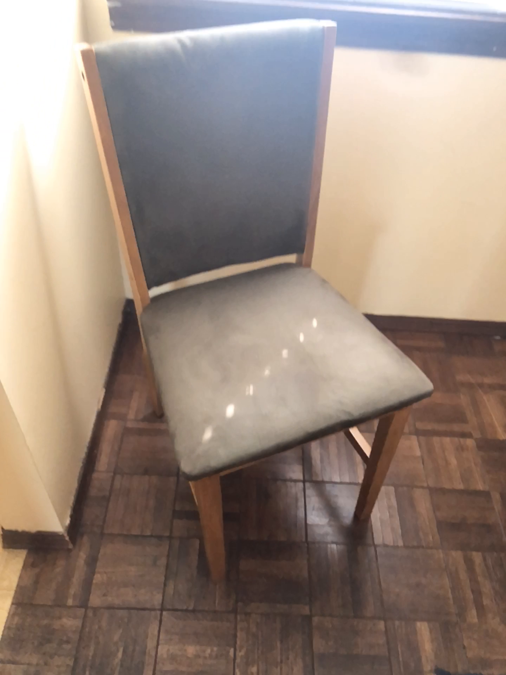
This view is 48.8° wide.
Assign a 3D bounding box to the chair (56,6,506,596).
[{"bbox_3d":[0.025,-0.046,1.027,0.490,0.858,0.510,-16,46,-19],"label":"chair"}]
